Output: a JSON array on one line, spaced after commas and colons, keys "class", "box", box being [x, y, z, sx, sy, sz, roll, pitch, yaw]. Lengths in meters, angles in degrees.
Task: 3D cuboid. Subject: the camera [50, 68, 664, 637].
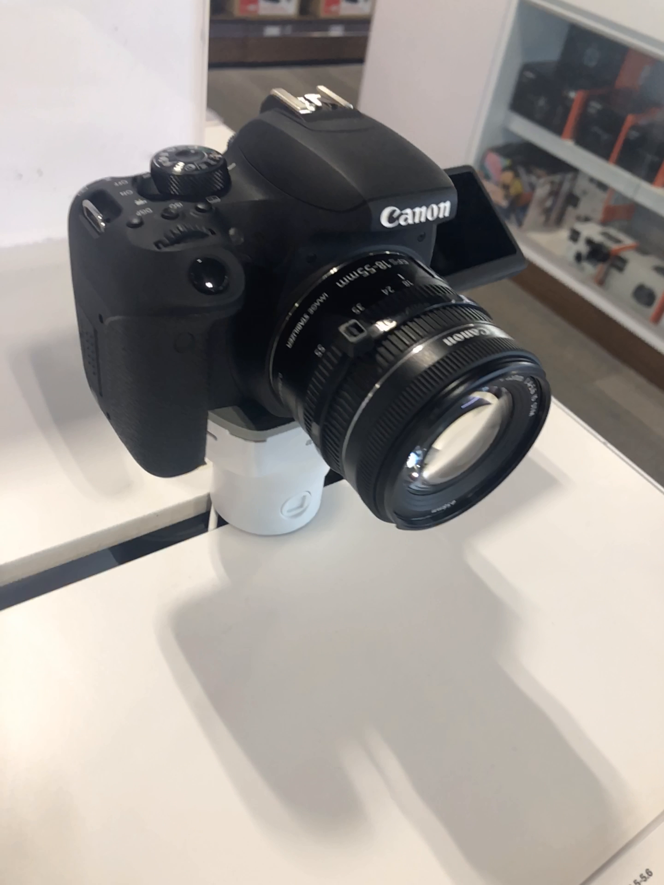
[{"class": "camera", "box": [0.035, -0.050, 0.248, 0.210, 0.099, 0.110, -21, 51, -31]}]
